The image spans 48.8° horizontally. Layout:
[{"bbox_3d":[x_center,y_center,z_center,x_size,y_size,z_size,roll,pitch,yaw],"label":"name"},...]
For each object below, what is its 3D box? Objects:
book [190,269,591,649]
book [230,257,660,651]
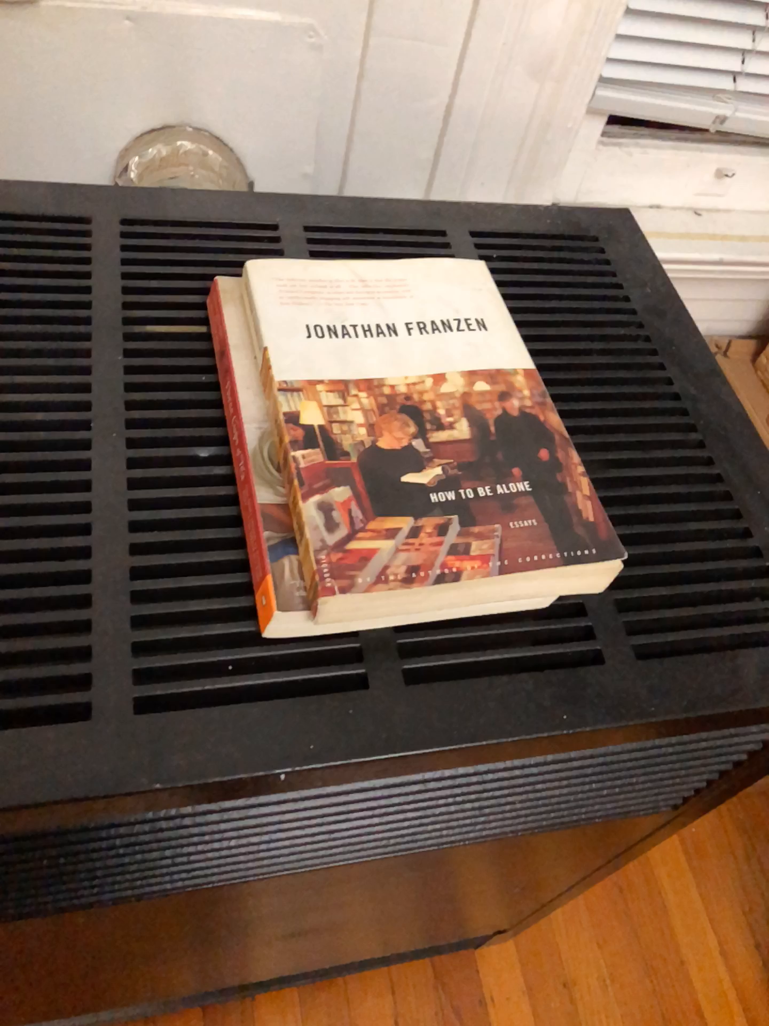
[{"bbox_3d":[-0.008,-0.043,0.426,0.150,0.030,0.211,-6,54,-17],"label":"book"},{"bbox_3d":[0.017,-0.045,0.410,0.150,0.030,0.211,-6,54,-17],"label":"book"}]
